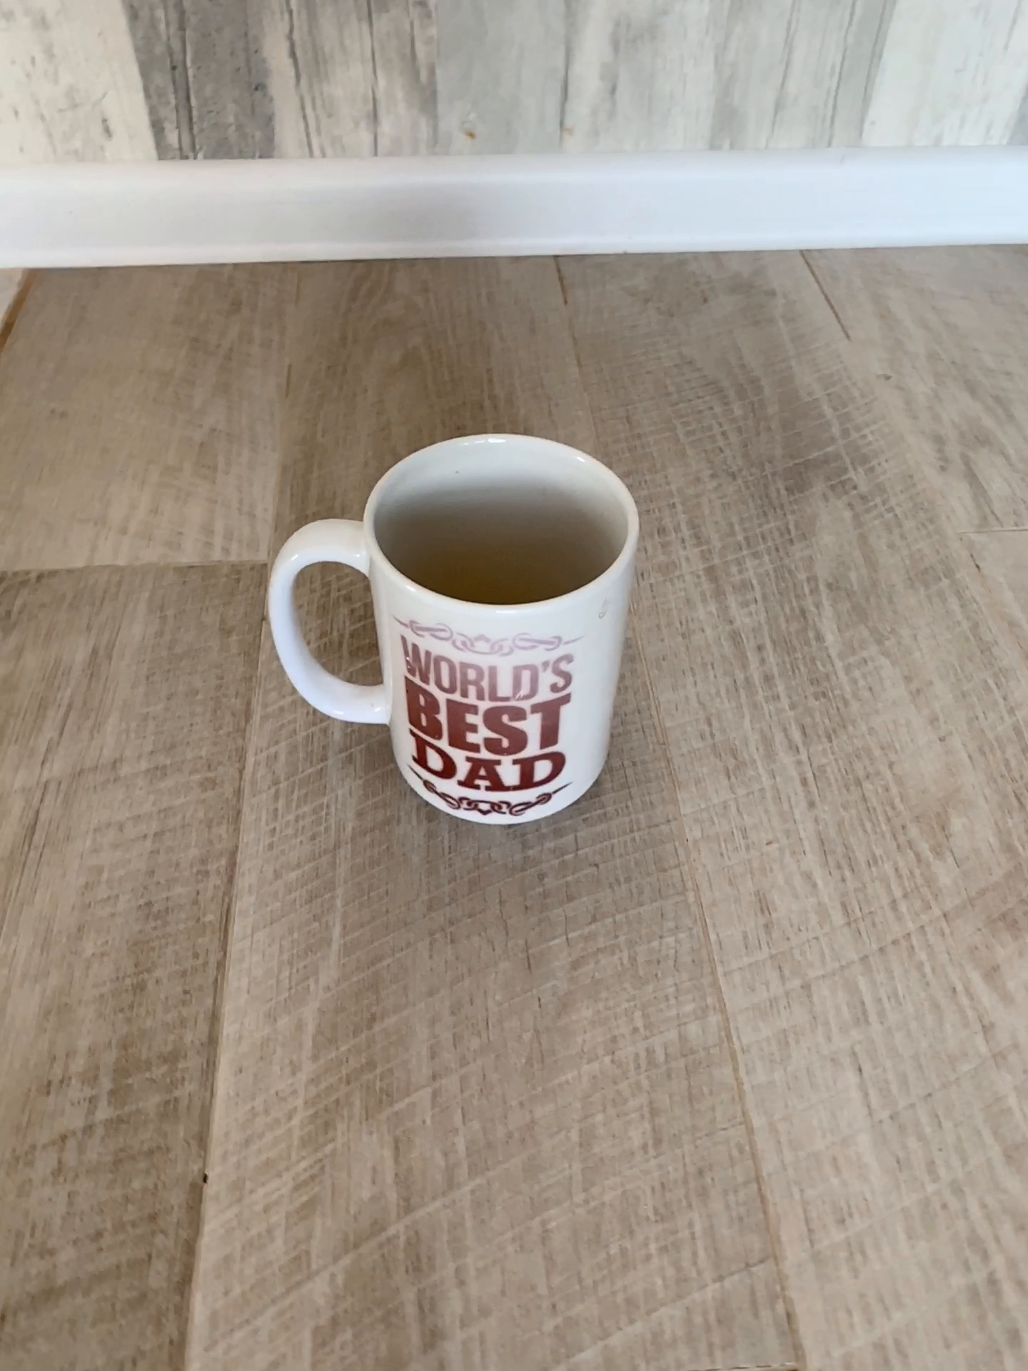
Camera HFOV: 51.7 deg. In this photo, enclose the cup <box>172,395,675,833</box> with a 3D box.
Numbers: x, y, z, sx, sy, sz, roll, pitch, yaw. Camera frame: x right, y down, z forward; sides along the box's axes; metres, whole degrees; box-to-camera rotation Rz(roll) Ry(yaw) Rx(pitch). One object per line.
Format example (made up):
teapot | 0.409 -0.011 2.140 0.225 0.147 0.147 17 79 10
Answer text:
cup | -0.023 -0.020 0.341 0.130 0.110 0.080 3 48 1
